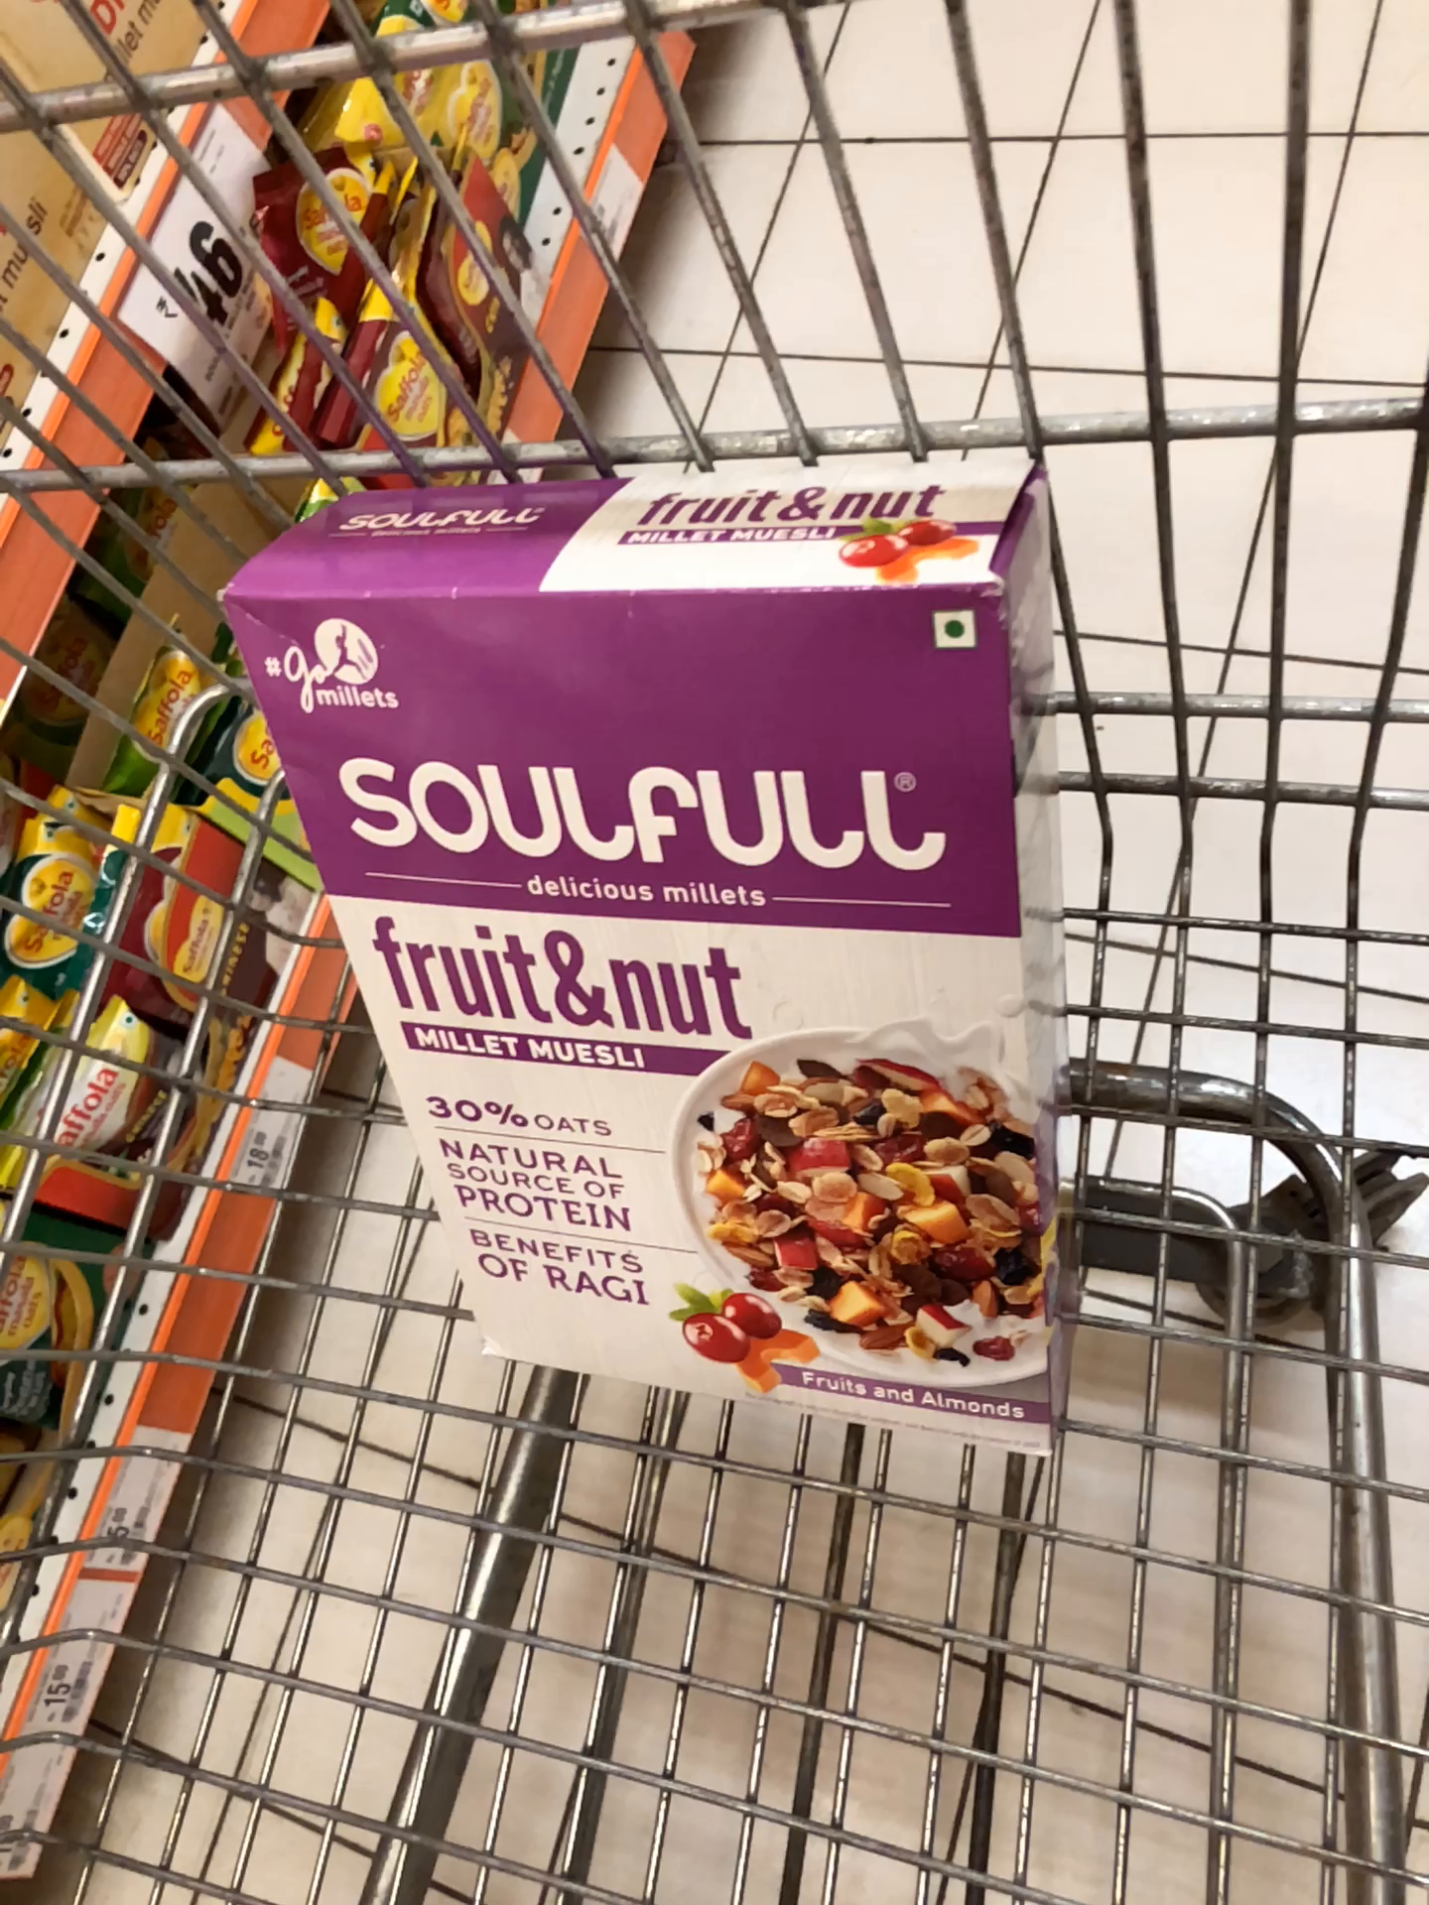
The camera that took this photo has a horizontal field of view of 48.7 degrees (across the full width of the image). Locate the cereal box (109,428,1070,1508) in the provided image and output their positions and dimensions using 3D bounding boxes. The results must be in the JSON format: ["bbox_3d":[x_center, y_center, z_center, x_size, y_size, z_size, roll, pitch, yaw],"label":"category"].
[{"bbox_3d":[-0.010,0.012,0.373,0.170,0.239,0.070,4,37,20],"label":"cereal box"}]
